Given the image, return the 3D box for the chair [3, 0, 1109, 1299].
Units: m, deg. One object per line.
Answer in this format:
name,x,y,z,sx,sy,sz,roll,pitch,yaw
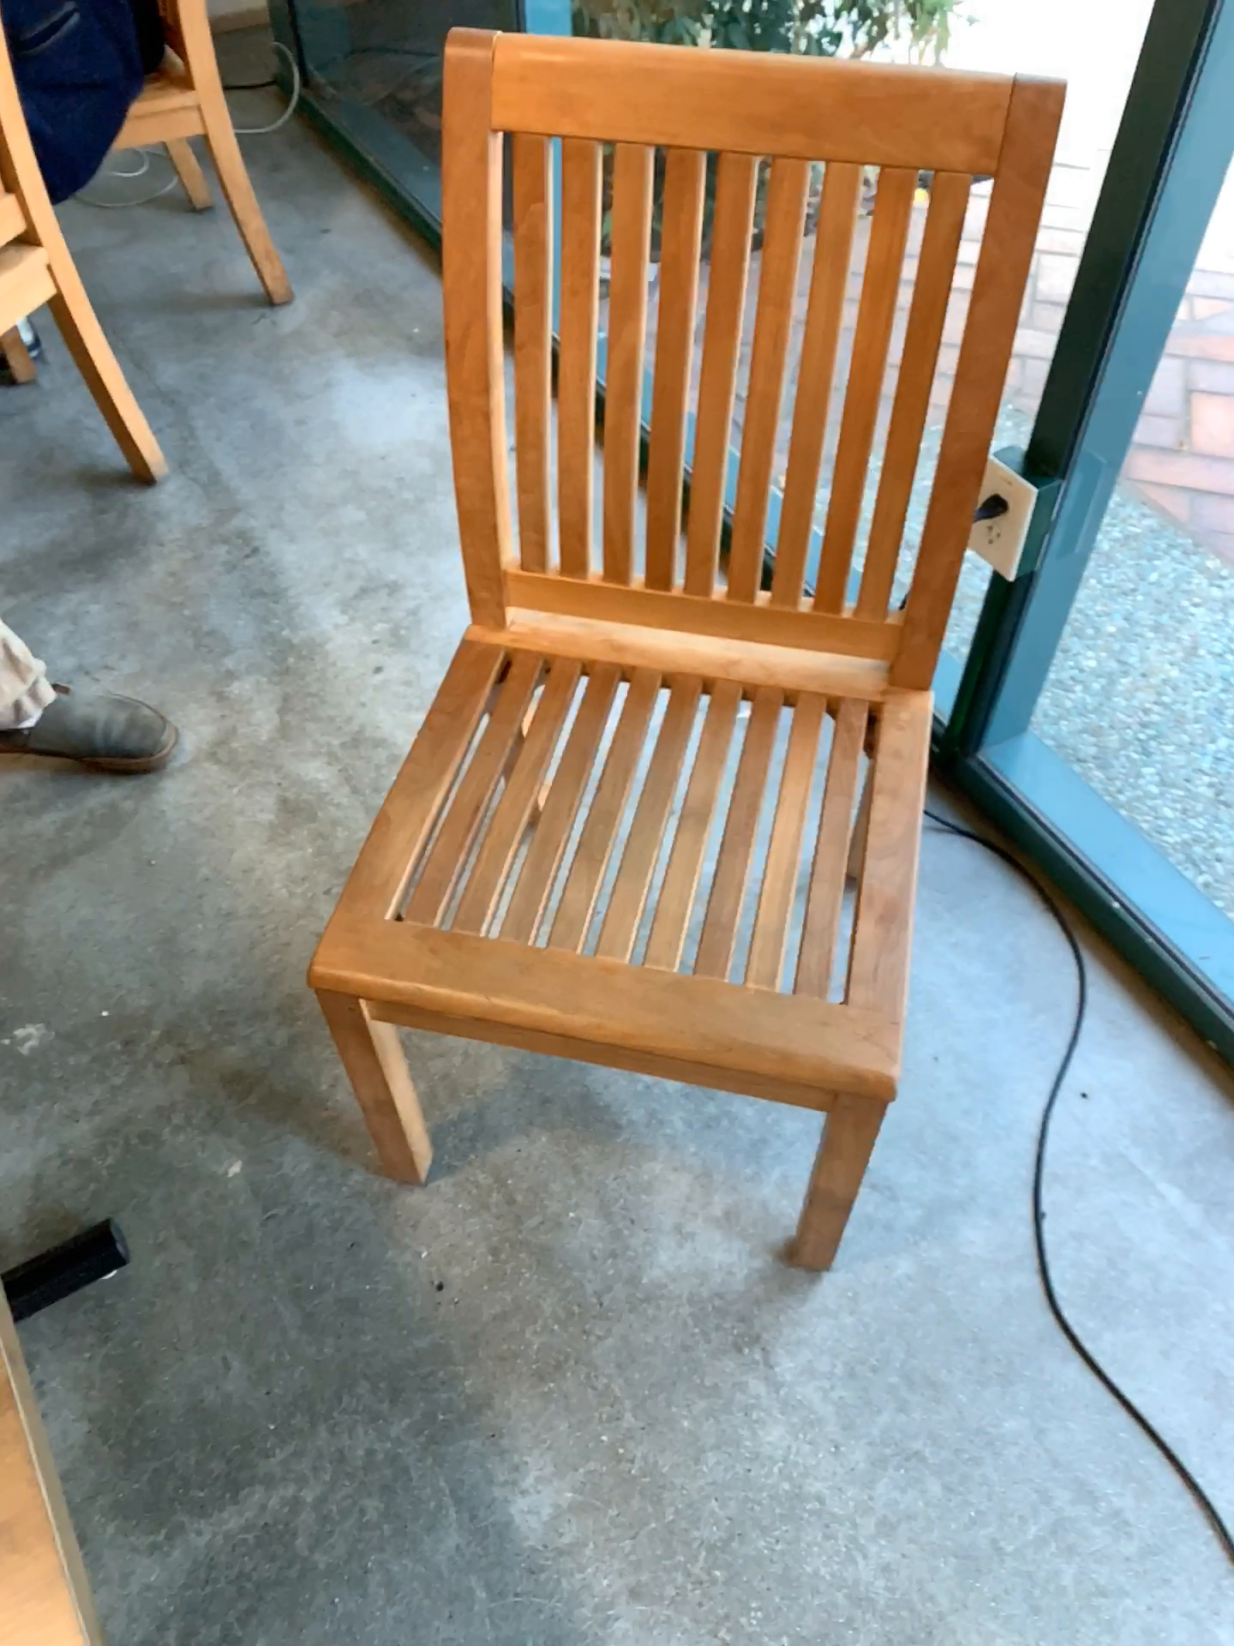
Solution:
chair,0.031,-0.089,1.128,0.530,0.917,0.612,10,53,9
